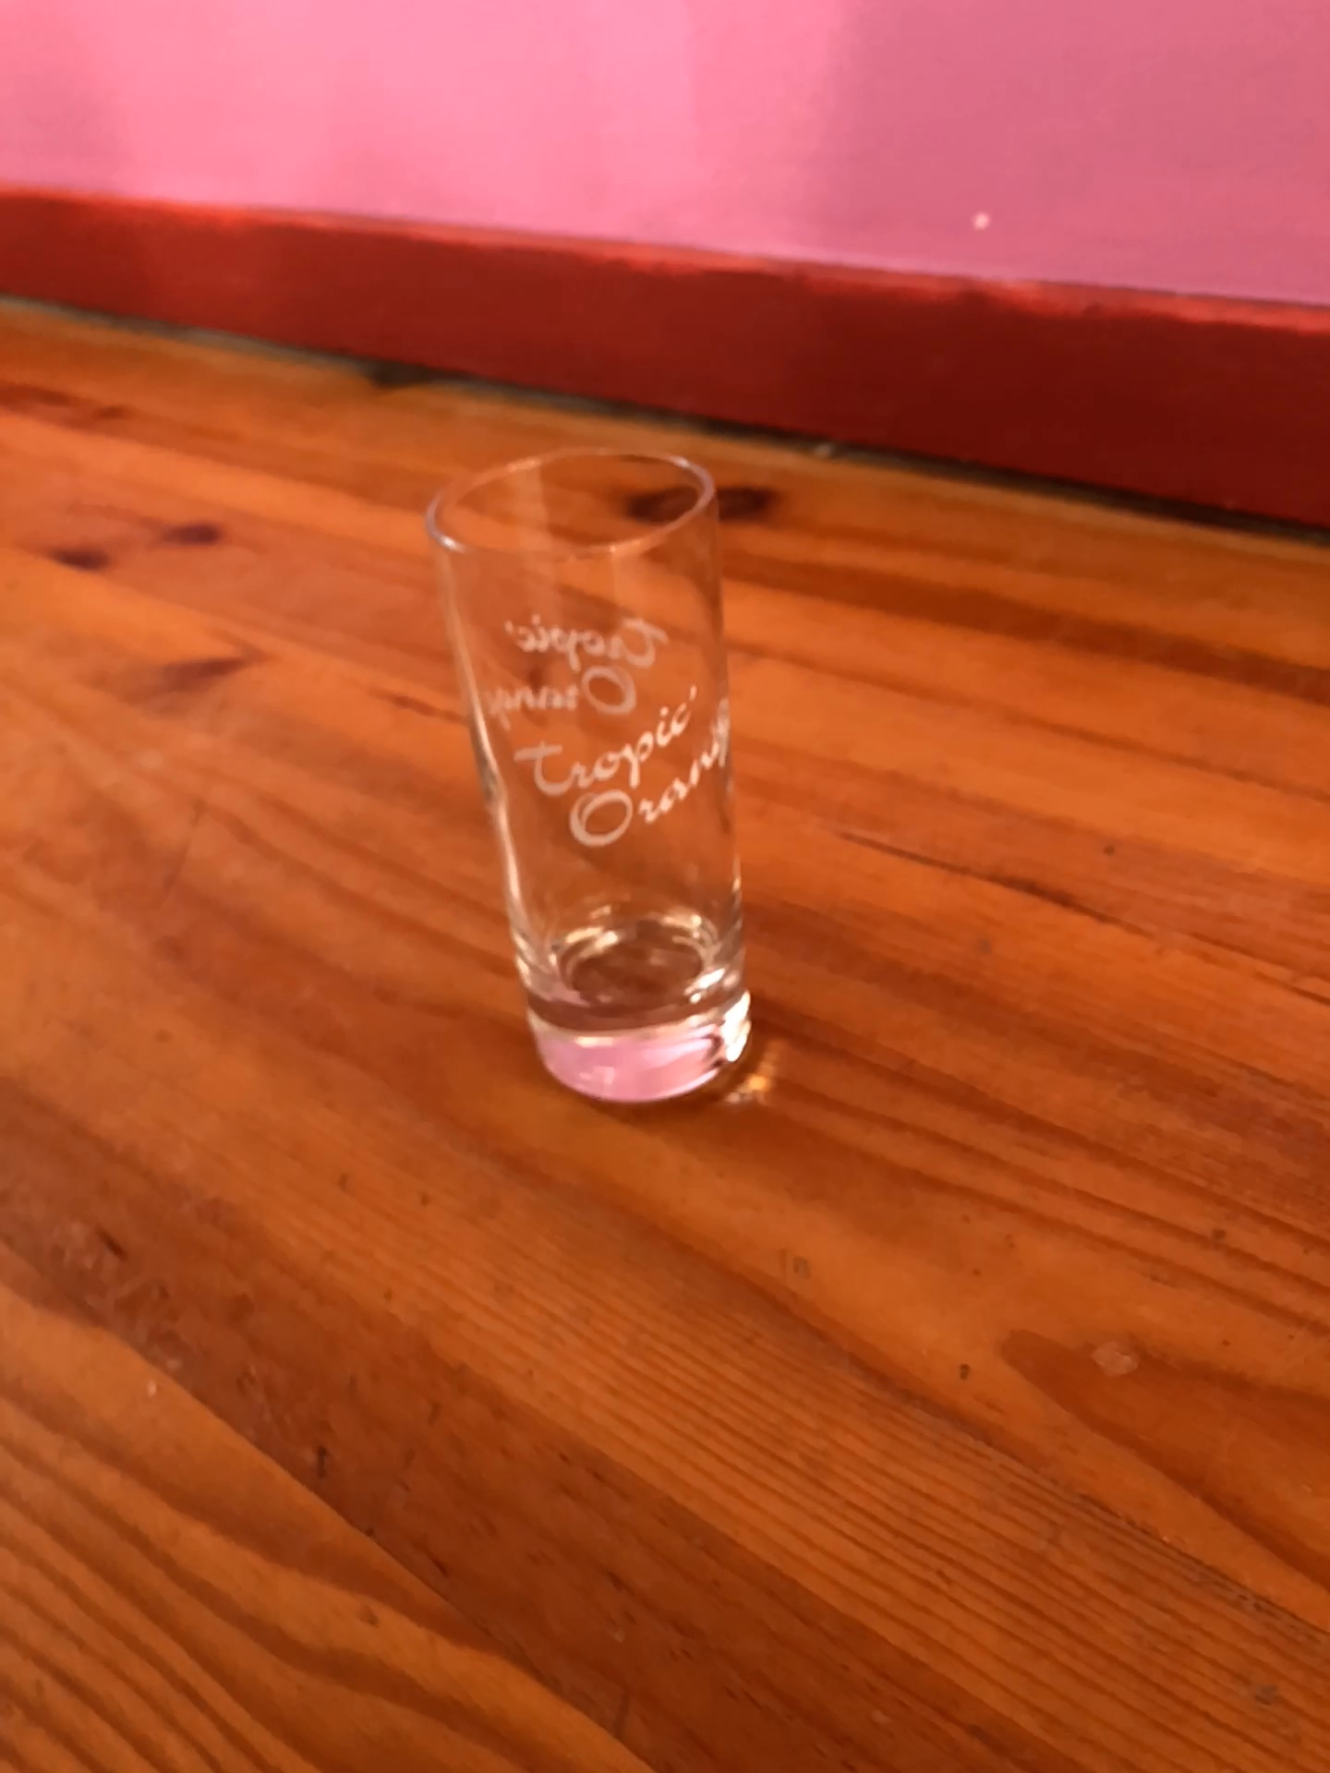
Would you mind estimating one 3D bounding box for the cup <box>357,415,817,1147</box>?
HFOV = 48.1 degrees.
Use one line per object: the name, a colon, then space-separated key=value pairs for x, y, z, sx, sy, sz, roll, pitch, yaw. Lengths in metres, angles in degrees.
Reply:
cup: x=-0.012 y=-0.021 z=0.300 sx=0.056 sy=0.124 sz=0.056 roll=-5 pitch=33 yaw=3
